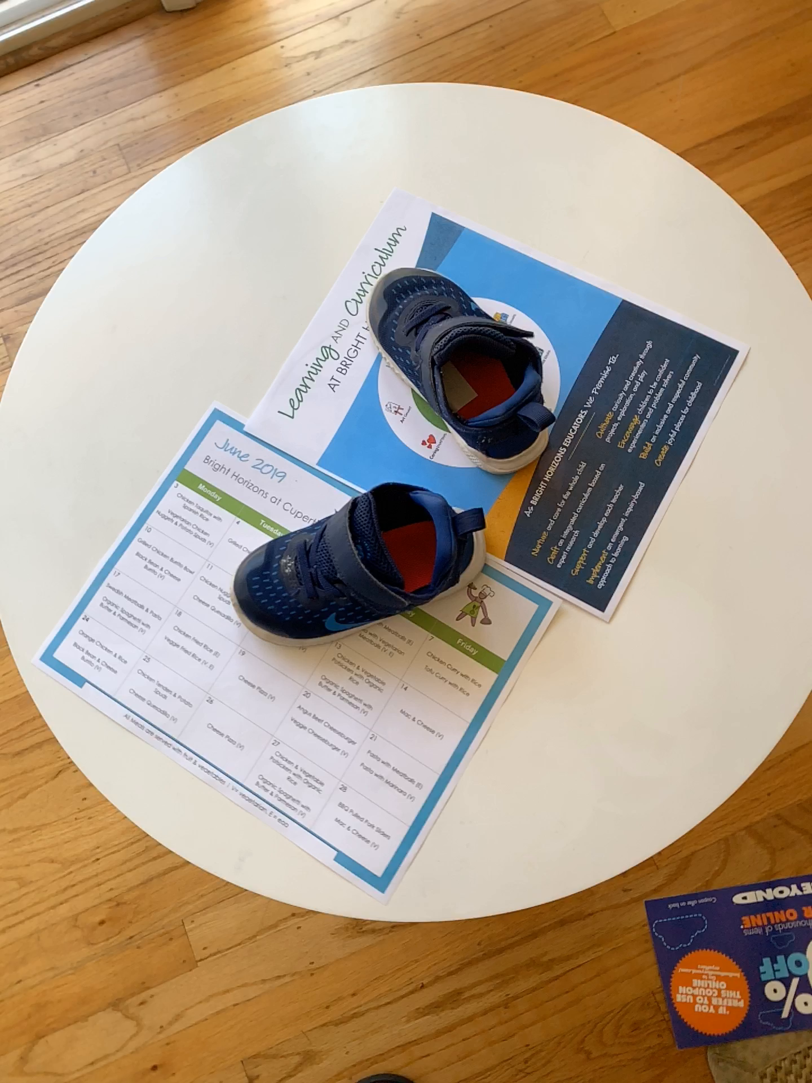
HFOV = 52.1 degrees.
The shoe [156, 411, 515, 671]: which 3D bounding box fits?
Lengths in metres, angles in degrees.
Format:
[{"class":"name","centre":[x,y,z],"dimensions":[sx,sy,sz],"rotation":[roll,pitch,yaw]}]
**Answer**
[{"class":"shoe","centre":[-0.034,0.007,0.476],"dimensions":[0.170,0.110,0.080],"rotation":[-17,76,1]}]

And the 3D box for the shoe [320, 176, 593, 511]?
[{"class":"shoe","centre":[0.032,-0.124,0.546],"dimensions":[0.080,0.110,0.170],"rotation":[-33,76,-3]}]
